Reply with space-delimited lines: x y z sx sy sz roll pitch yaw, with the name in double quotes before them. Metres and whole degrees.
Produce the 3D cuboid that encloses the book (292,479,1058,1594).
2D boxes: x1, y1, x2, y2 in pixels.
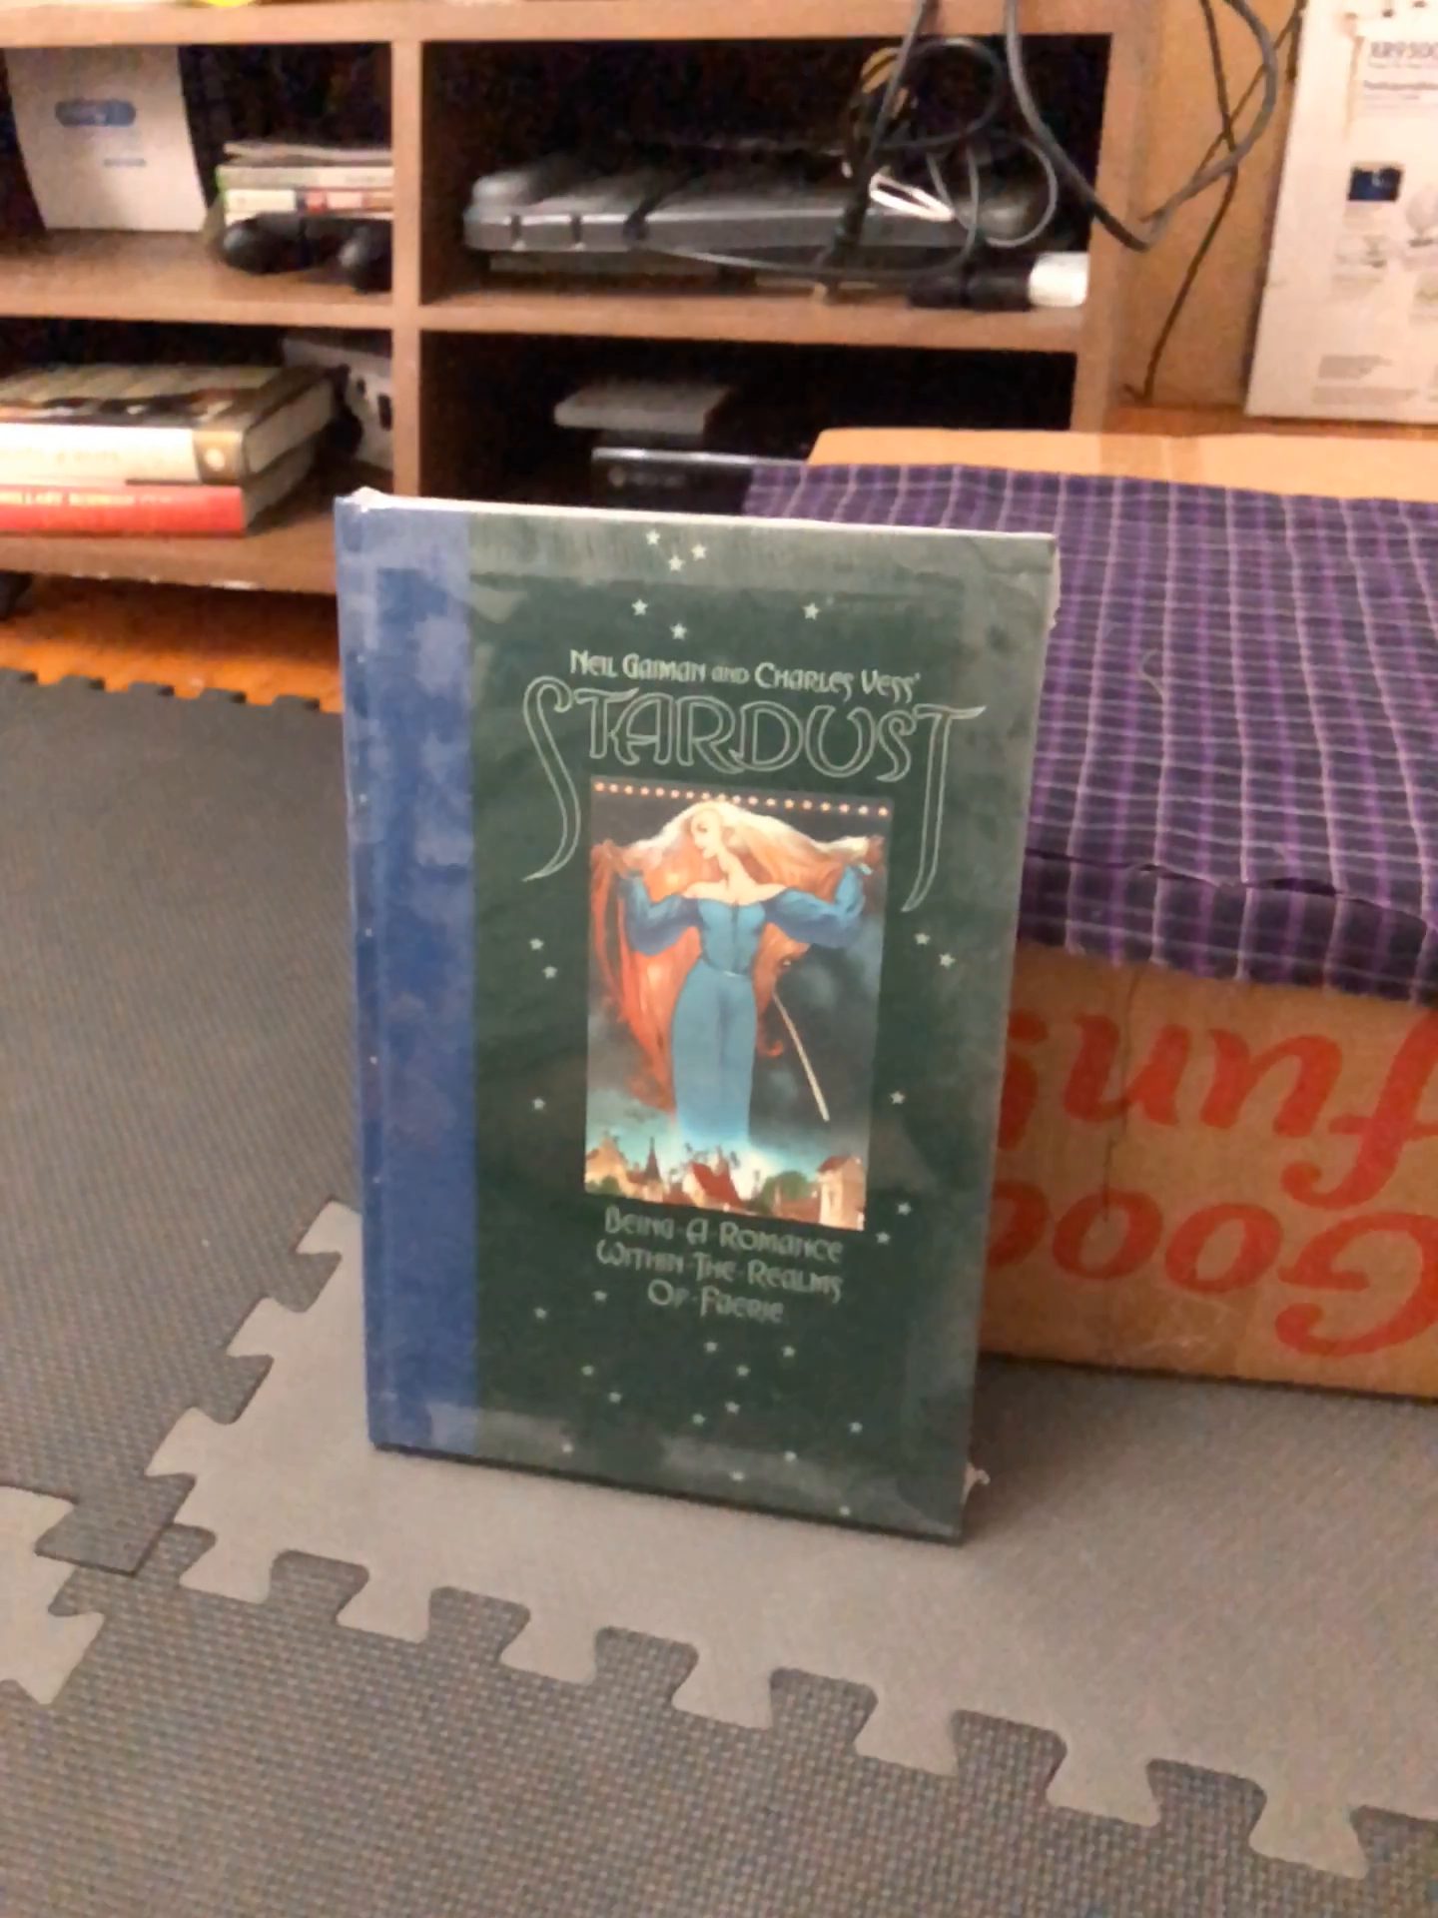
"book" -0.019 0.030 0.482 0.210 0.329 0.020 5 17 12
